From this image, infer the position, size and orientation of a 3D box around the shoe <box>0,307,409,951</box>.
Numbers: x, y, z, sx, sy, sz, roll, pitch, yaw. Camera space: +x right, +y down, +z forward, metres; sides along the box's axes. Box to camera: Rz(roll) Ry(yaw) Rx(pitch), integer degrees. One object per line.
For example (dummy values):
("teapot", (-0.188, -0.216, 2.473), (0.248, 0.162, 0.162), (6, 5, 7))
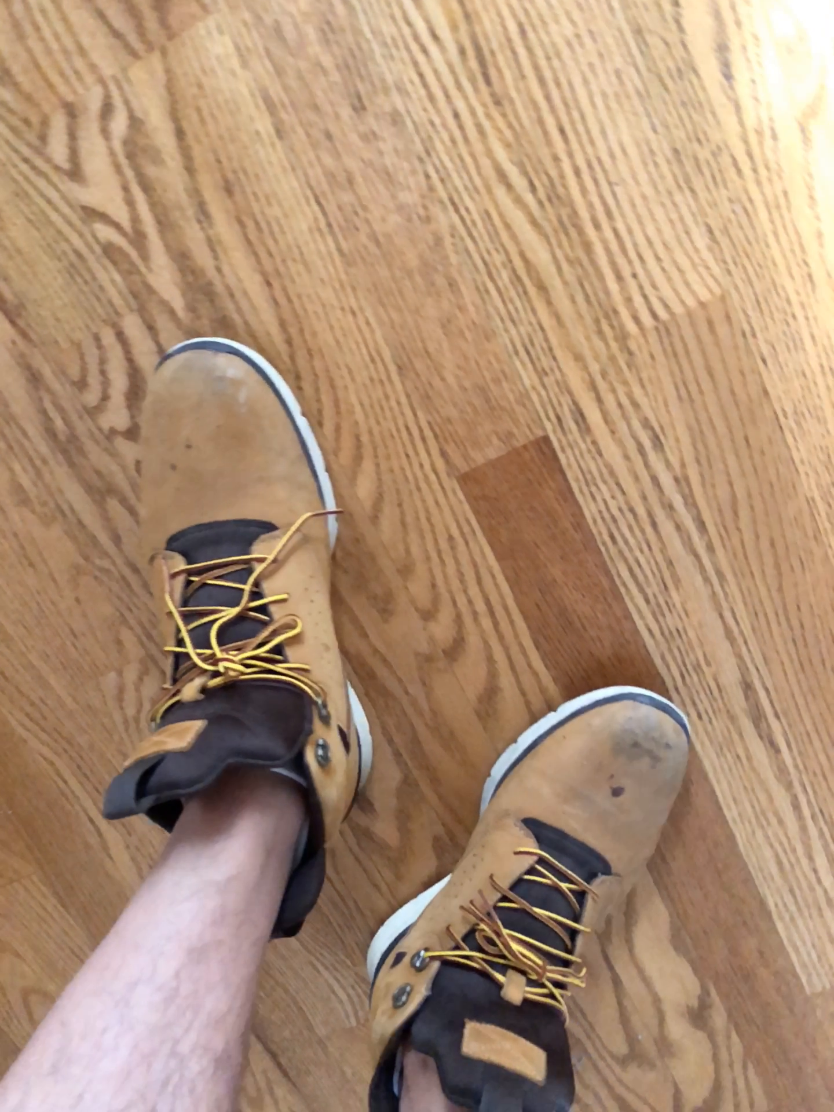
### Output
("shoe", (-0.107, 0.037, 0.527), (0.130, 0.140, 0.320), (-9, 101, 9))

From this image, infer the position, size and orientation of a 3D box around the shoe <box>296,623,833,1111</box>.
("shoe", (0.073, 0.220, 0.543), (0.130, 0.170, 0.301), (31, 122, -4))
